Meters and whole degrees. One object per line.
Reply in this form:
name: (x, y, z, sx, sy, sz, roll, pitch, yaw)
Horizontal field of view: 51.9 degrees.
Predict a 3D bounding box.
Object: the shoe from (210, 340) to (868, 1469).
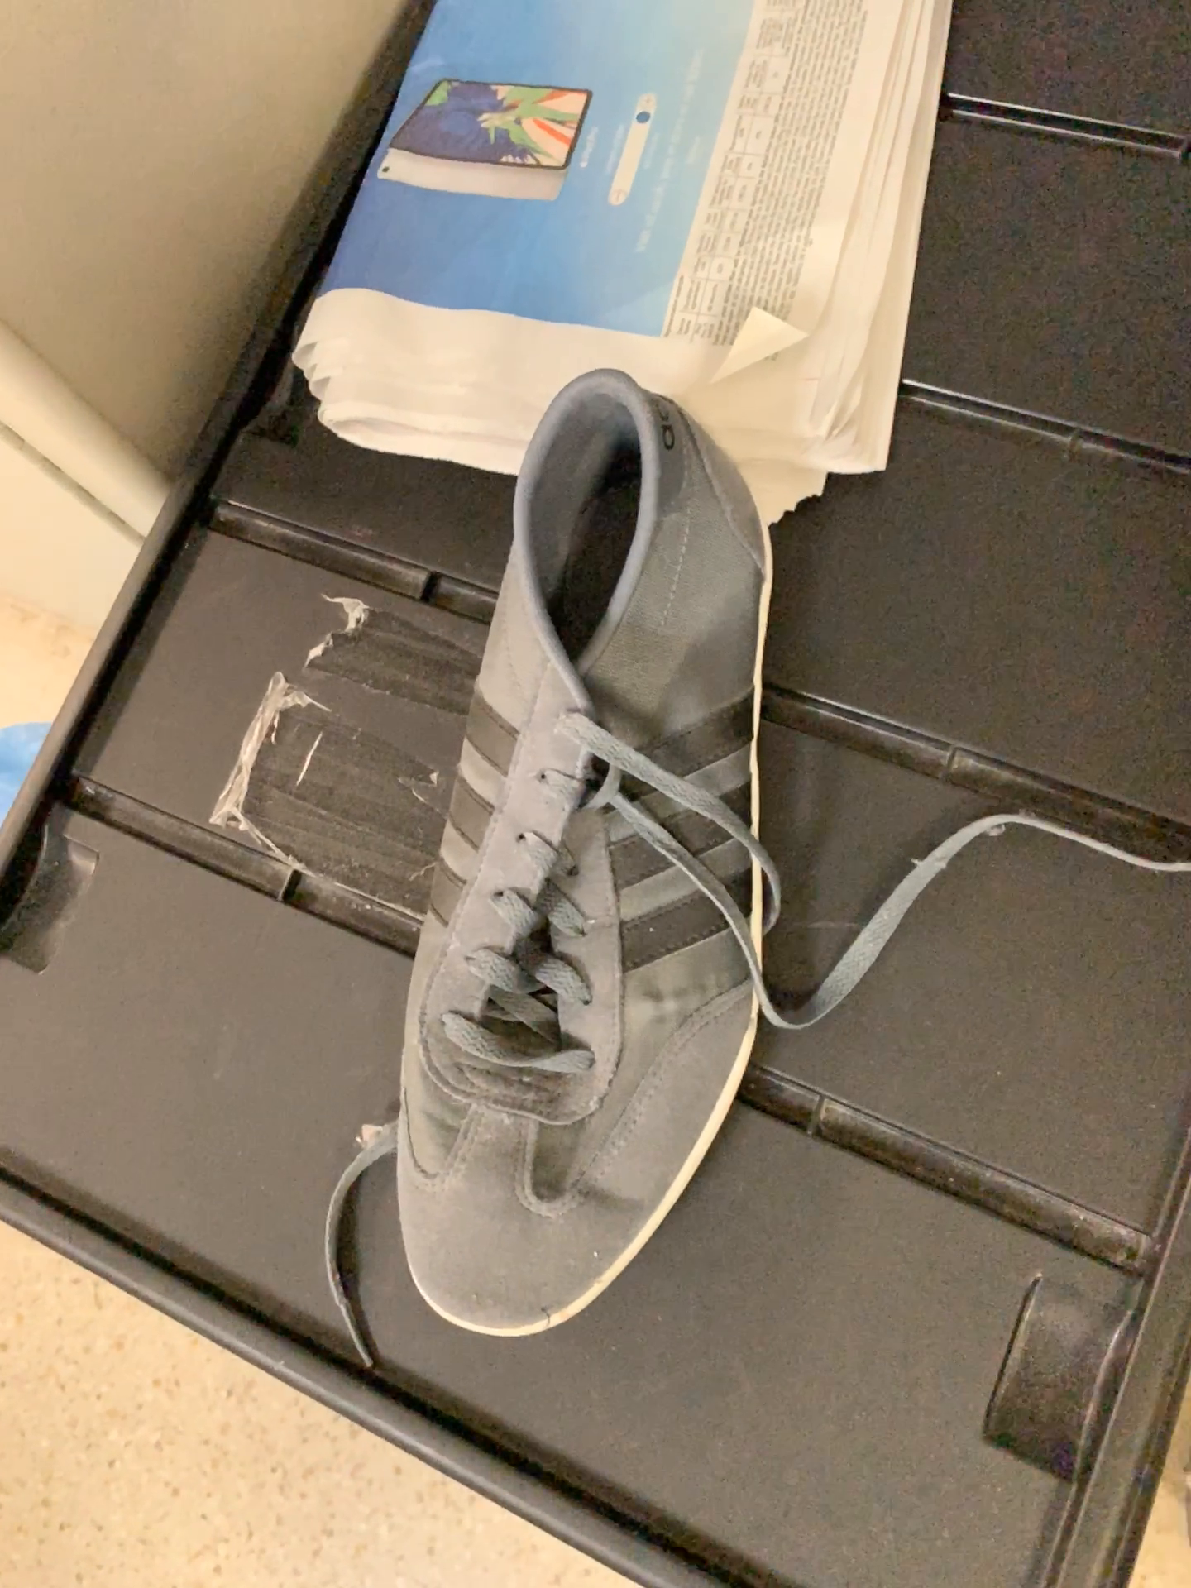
shoe: (-0.002, 0.017, 0.340, 0.114, 0.077, 0.268, 8, 77, 14)
